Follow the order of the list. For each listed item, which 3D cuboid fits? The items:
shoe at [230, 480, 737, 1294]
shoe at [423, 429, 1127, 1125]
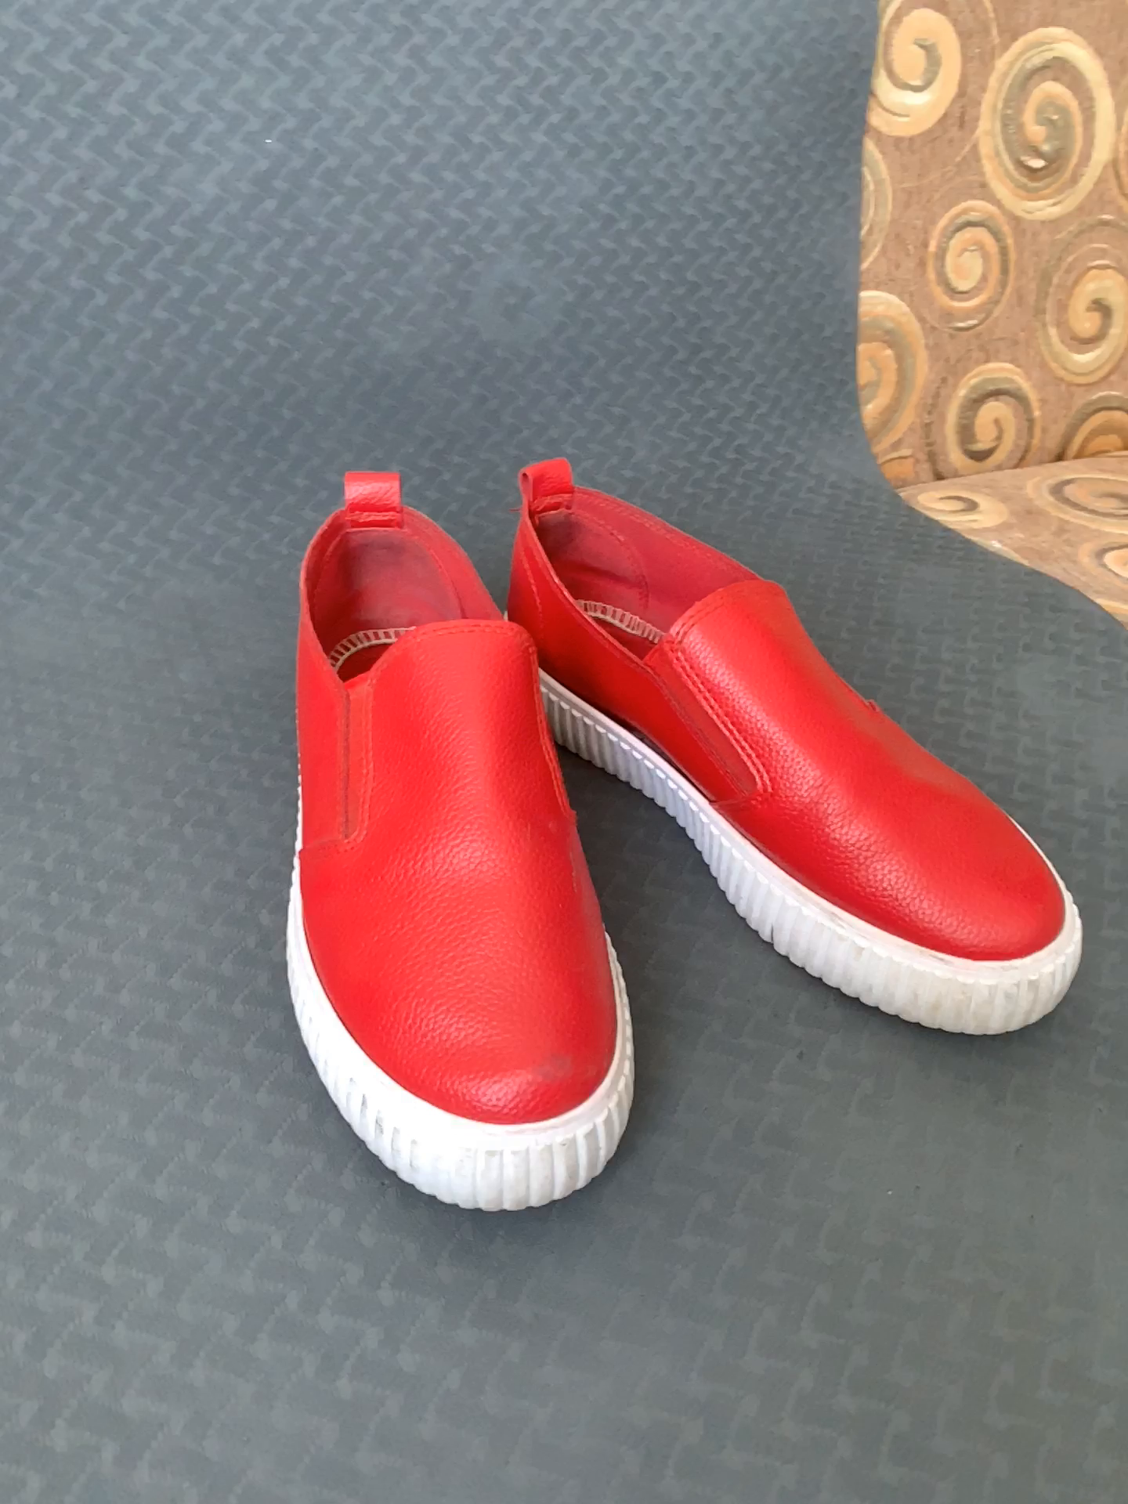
[{"bbox_3d":[-0.041,0.014,0.340,0.095,0.070,0.241,-6,43,-13],"label":"shoe"},{"bbox_3d":[0.064,-0.012,0.372,0.095,0.070,0.241,-27,51,-32],"label":"shoe"}]
